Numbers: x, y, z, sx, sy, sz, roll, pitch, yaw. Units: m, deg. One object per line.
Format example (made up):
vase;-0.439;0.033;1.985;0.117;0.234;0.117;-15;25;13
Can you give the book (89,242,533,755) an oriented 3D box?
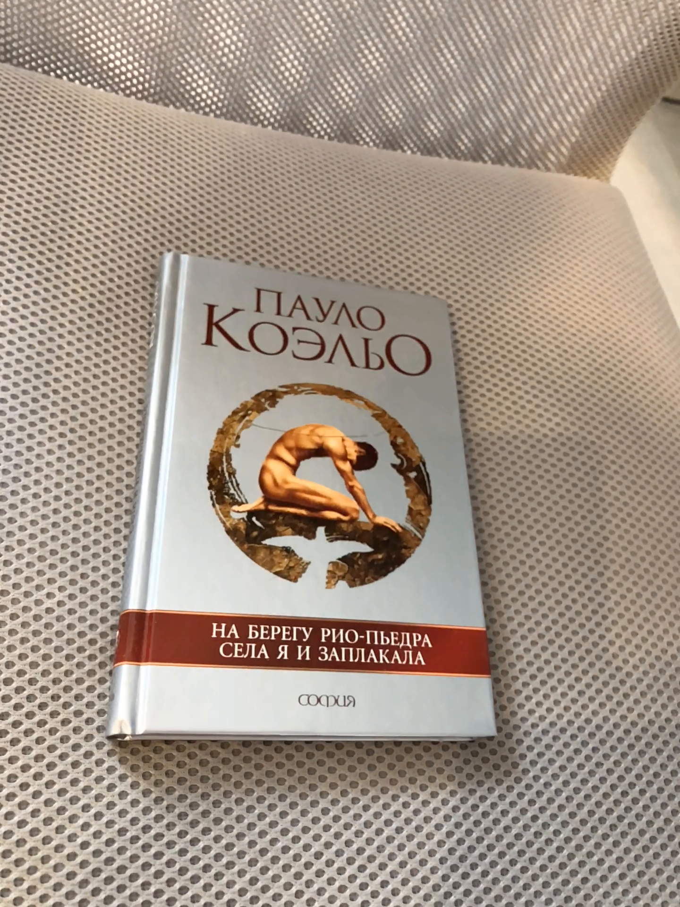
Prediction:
book;-0.008;0.011;0.265;0.131;0.020;0.174;7;61;-16
